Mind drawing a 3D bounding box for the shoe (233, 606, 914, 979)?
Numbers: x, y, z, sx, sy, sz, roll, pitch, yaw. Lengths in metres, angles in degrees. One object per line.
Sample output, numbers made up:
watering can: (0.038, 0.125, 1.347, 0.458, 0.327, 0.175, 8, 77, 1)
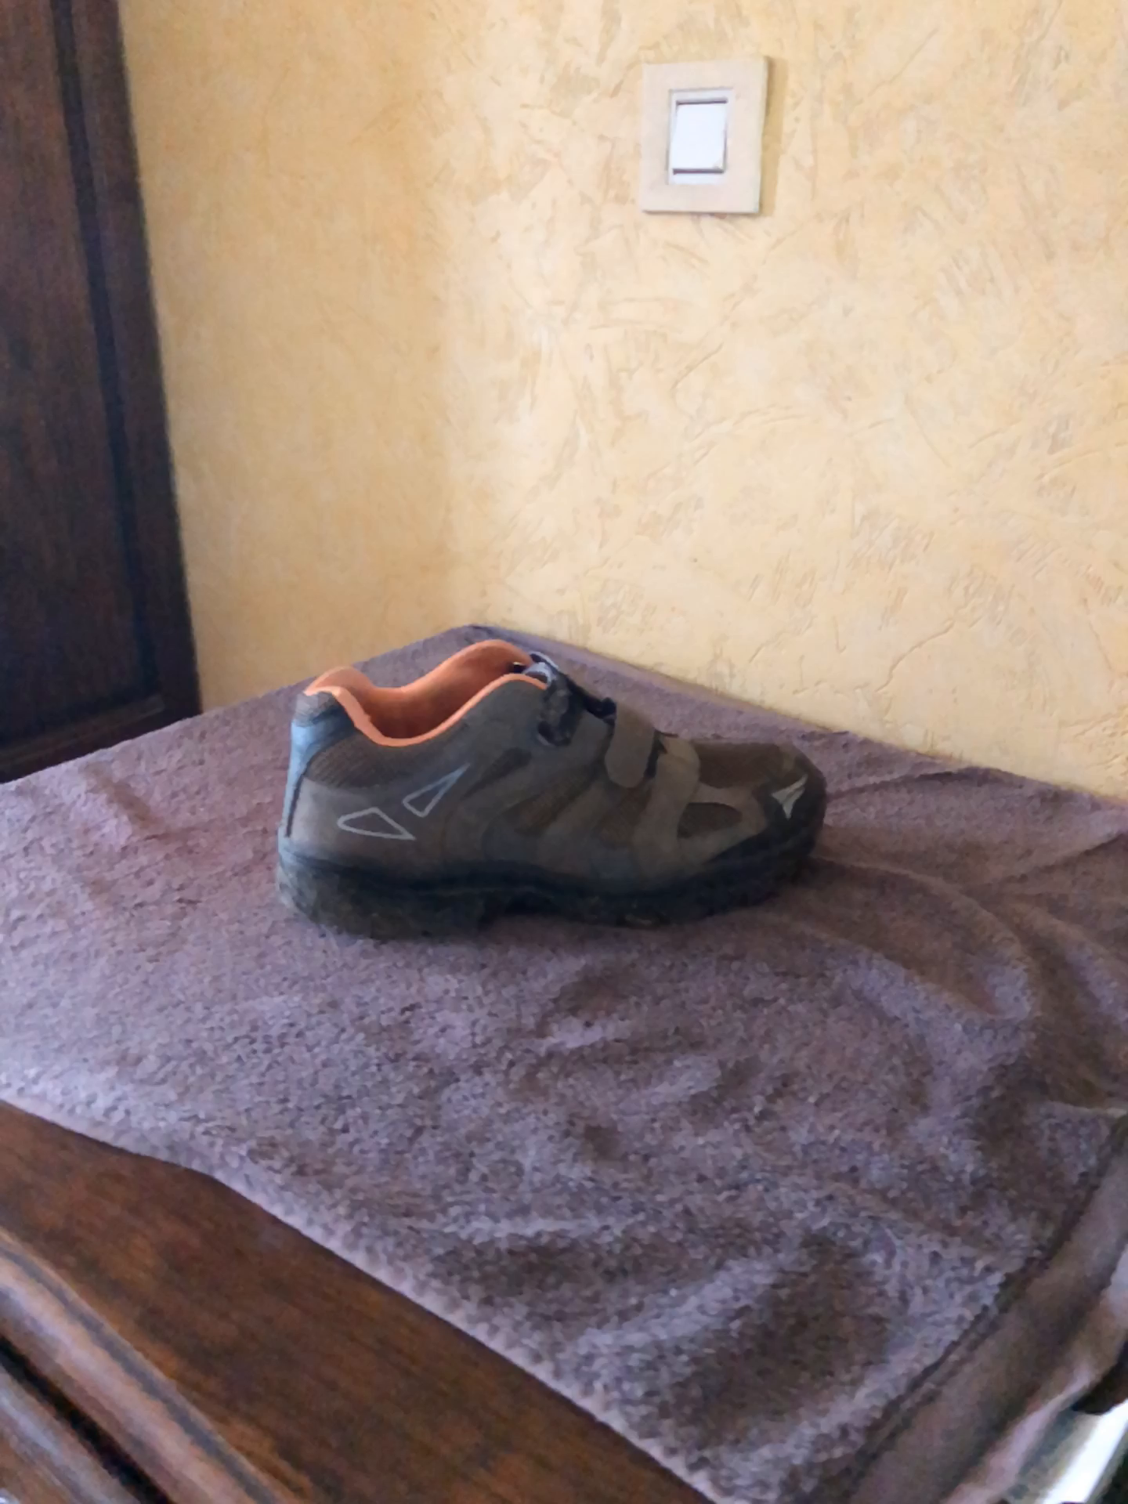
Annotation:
shoe: (-0.001, 0.009, 0.547, 0.270, 0.099, 0.110, -6, 24, -12)
